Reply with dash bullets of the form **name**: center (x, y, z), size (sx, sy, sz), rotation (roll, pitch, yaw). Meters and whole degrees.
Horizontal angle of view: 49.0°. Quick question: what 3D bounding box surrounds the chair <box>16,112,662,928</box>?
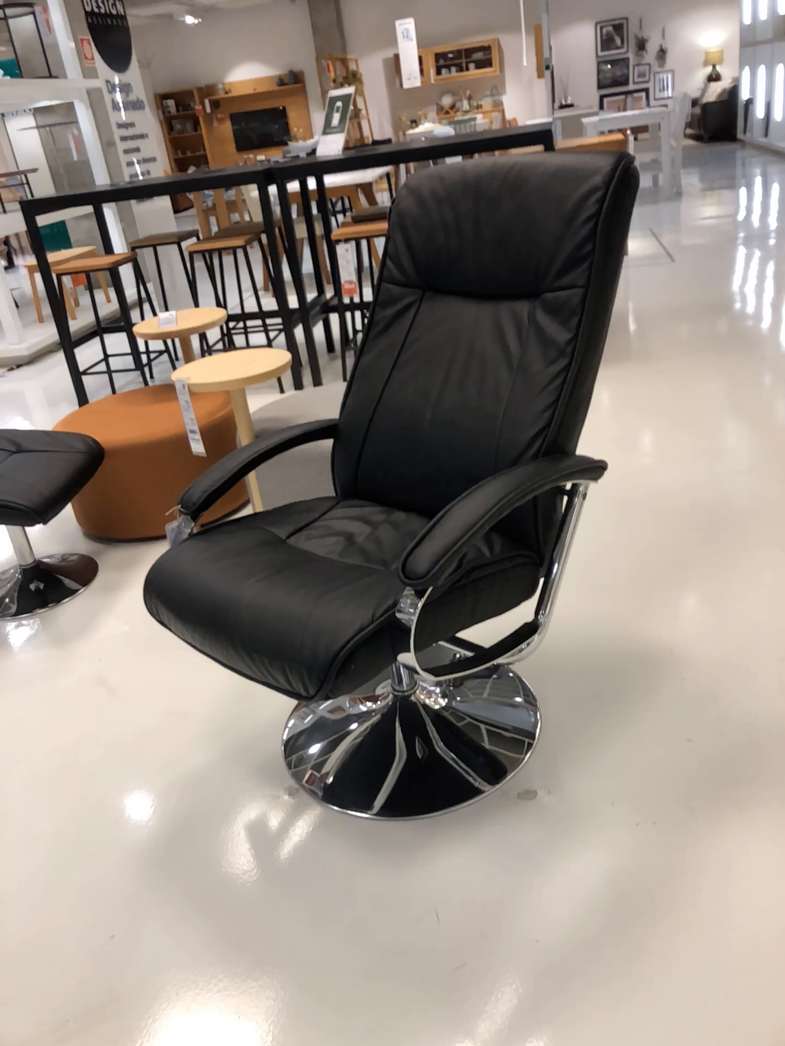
- **chair**: center (-0.005, -0.073, 1.617), size (0.752, 1.132, 0.723), rotation (12, 32, 37)
